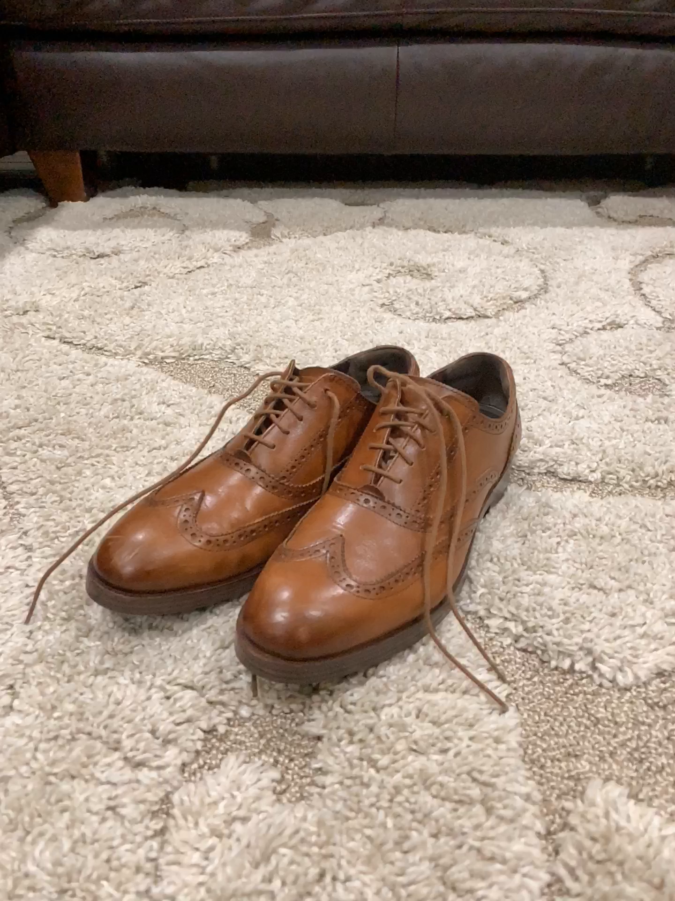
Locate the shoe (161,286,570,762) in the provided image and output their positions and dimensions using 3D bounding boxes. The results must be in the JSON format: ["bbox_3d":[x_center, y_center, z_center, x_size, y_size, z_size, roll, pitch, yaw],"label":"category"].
[{"bbox_3d":[0.039,0.016,0.426,0.105,0.131,0.282,19,38,26],"label":"shoe"}]

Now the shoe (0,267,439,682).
[{"bbox_3d":[-0.053,-0.009,0.464,0.105,0.131,0.284,22,40,30],"label":"shoe"}]
